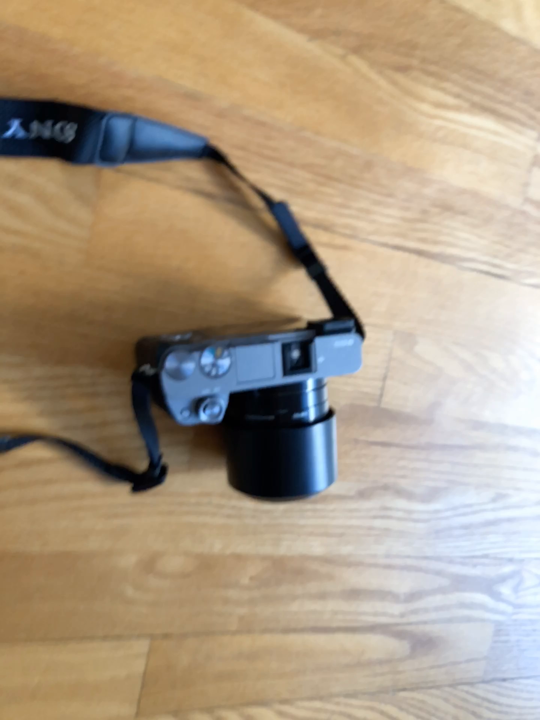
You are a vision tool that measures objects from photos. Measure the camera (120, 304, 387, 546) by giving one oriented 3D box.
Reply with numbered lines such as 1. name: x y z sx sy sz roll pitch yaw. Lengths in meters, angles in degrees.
1. camera: -0.008 0.030 0.364 0.140 0.060 0.110 -8 102 -23
